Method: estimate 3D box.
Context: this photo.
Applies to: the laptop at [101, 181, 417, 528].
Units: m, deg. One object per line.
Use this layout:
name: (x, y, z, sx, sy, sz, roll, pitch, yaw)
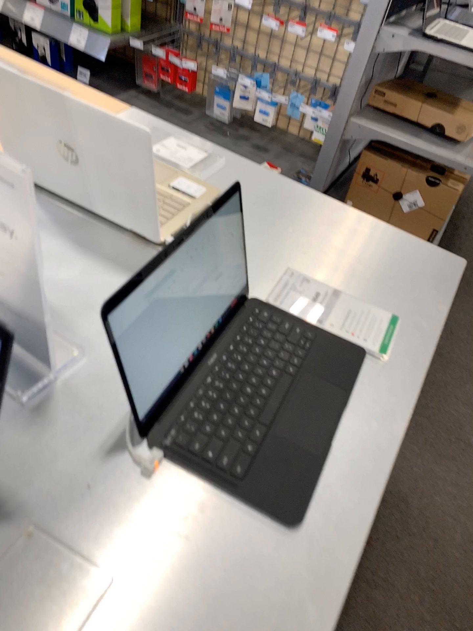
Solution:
laptop: (0.033, 0.026, 0.581, 0.253, 0.180, 0.295, 26, 46, 10)
